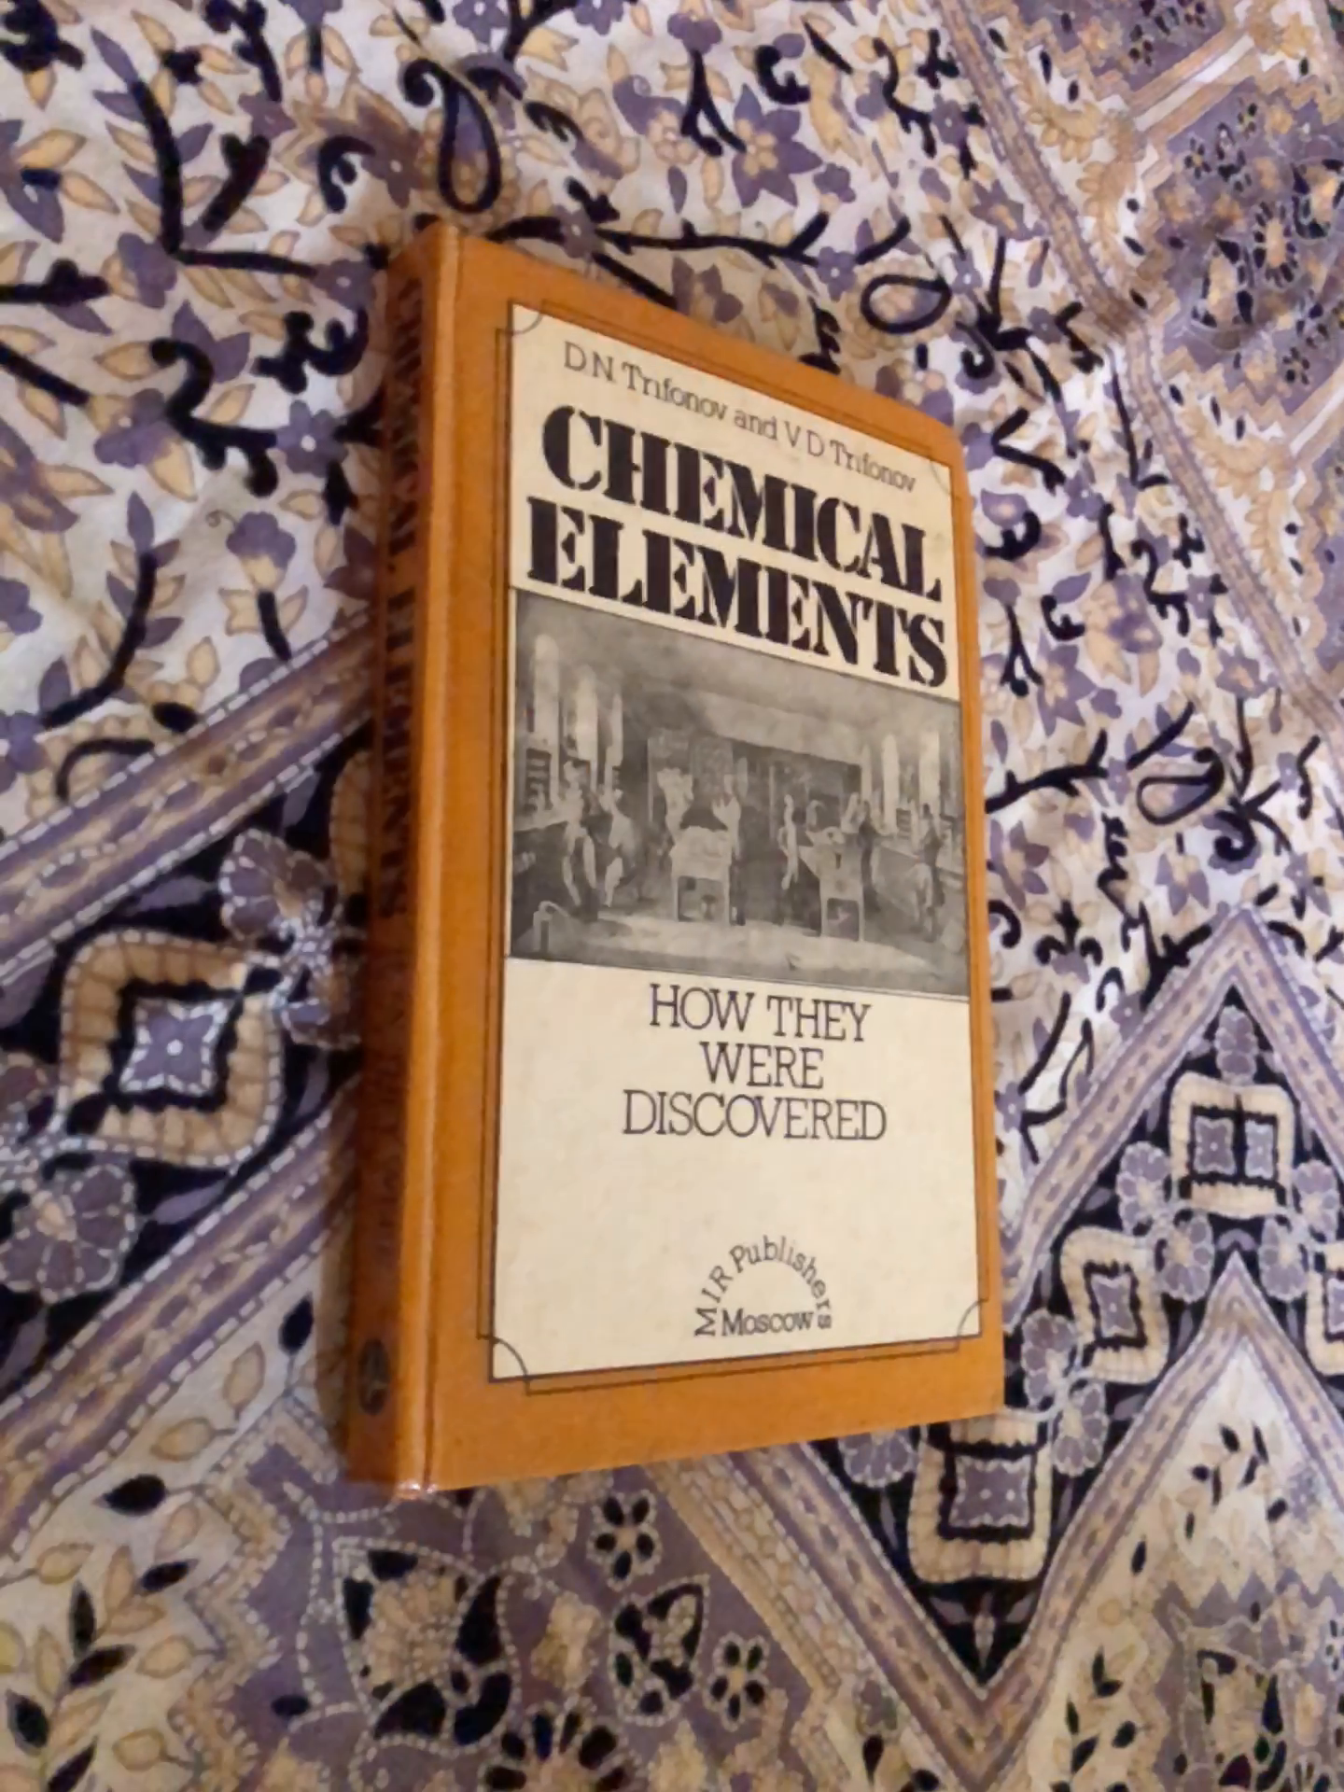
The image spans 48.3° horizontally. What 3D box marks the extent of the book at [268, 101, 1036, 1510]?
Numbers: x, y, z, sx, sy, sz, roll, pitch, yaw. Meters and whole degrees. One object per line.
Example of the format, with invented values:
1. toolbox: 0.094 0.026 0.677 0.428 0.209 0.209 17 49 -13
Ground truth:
1. book: 0.004 -0.013 0.279 0.141 0.030 0.220 8 76 -35
